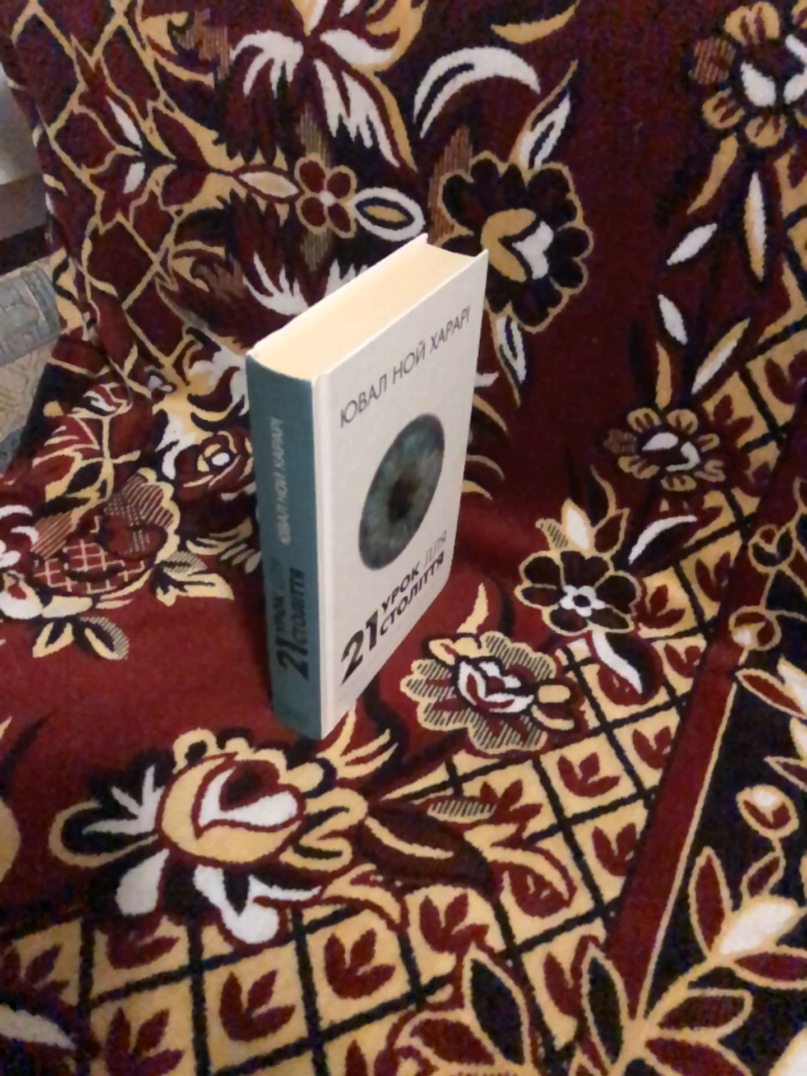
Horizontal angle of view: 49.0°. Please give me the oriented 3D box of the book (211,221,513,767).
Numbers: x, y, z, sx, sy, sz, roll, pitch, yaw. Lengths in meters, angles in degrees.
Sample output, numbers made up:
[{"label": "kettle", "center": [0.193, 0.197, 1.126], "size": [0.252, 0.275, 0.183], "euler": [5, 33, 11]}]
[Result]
[{"label": "book", "center": [-0.014, -0.019, 0.419], "size": [0.040, 0.211, 0.154], "euler": [24, 43, 23]}]
